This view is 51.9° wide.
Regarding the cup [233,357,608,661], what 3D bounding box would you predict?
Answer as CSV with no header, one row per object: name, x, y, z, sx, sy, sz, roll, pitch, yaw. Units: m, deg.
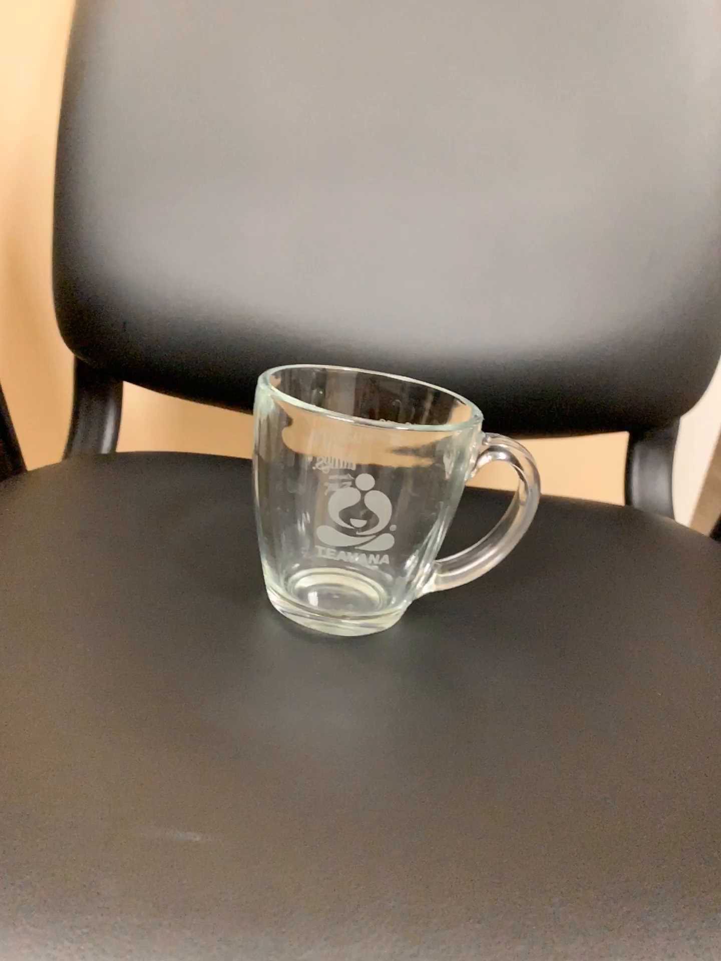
cup,0.017,0.010,0.345,0.139,0.100,0.096,6,19,-11
